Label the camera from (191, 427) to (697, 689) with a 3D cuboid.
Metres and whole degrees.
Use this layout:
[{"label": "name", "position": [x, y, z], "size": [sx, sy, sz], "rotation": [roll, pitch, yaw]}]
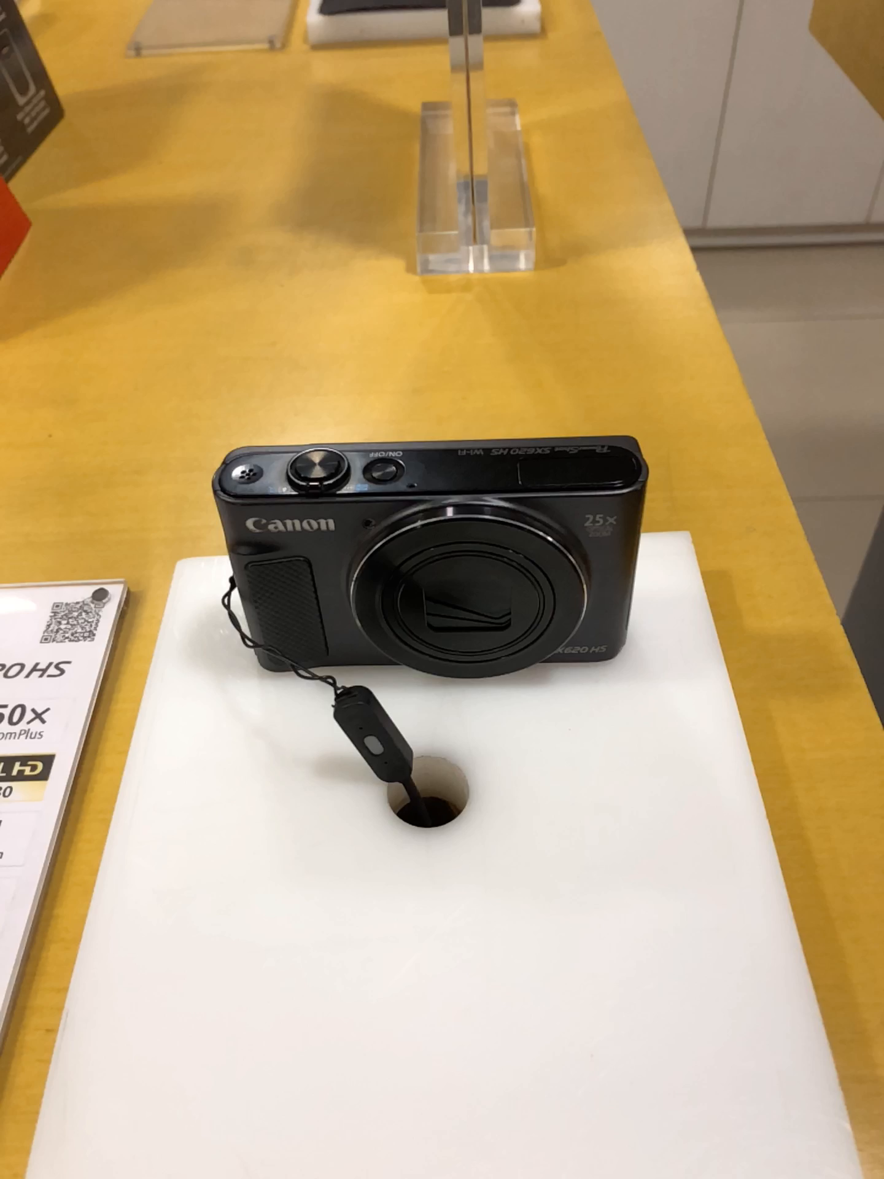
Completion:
[{"label": "camera", "position": [0.001, -0.006, 0.246], "size": [0.110, 0.060, 0.030], "rotation": [-1, 46, 2]}]
